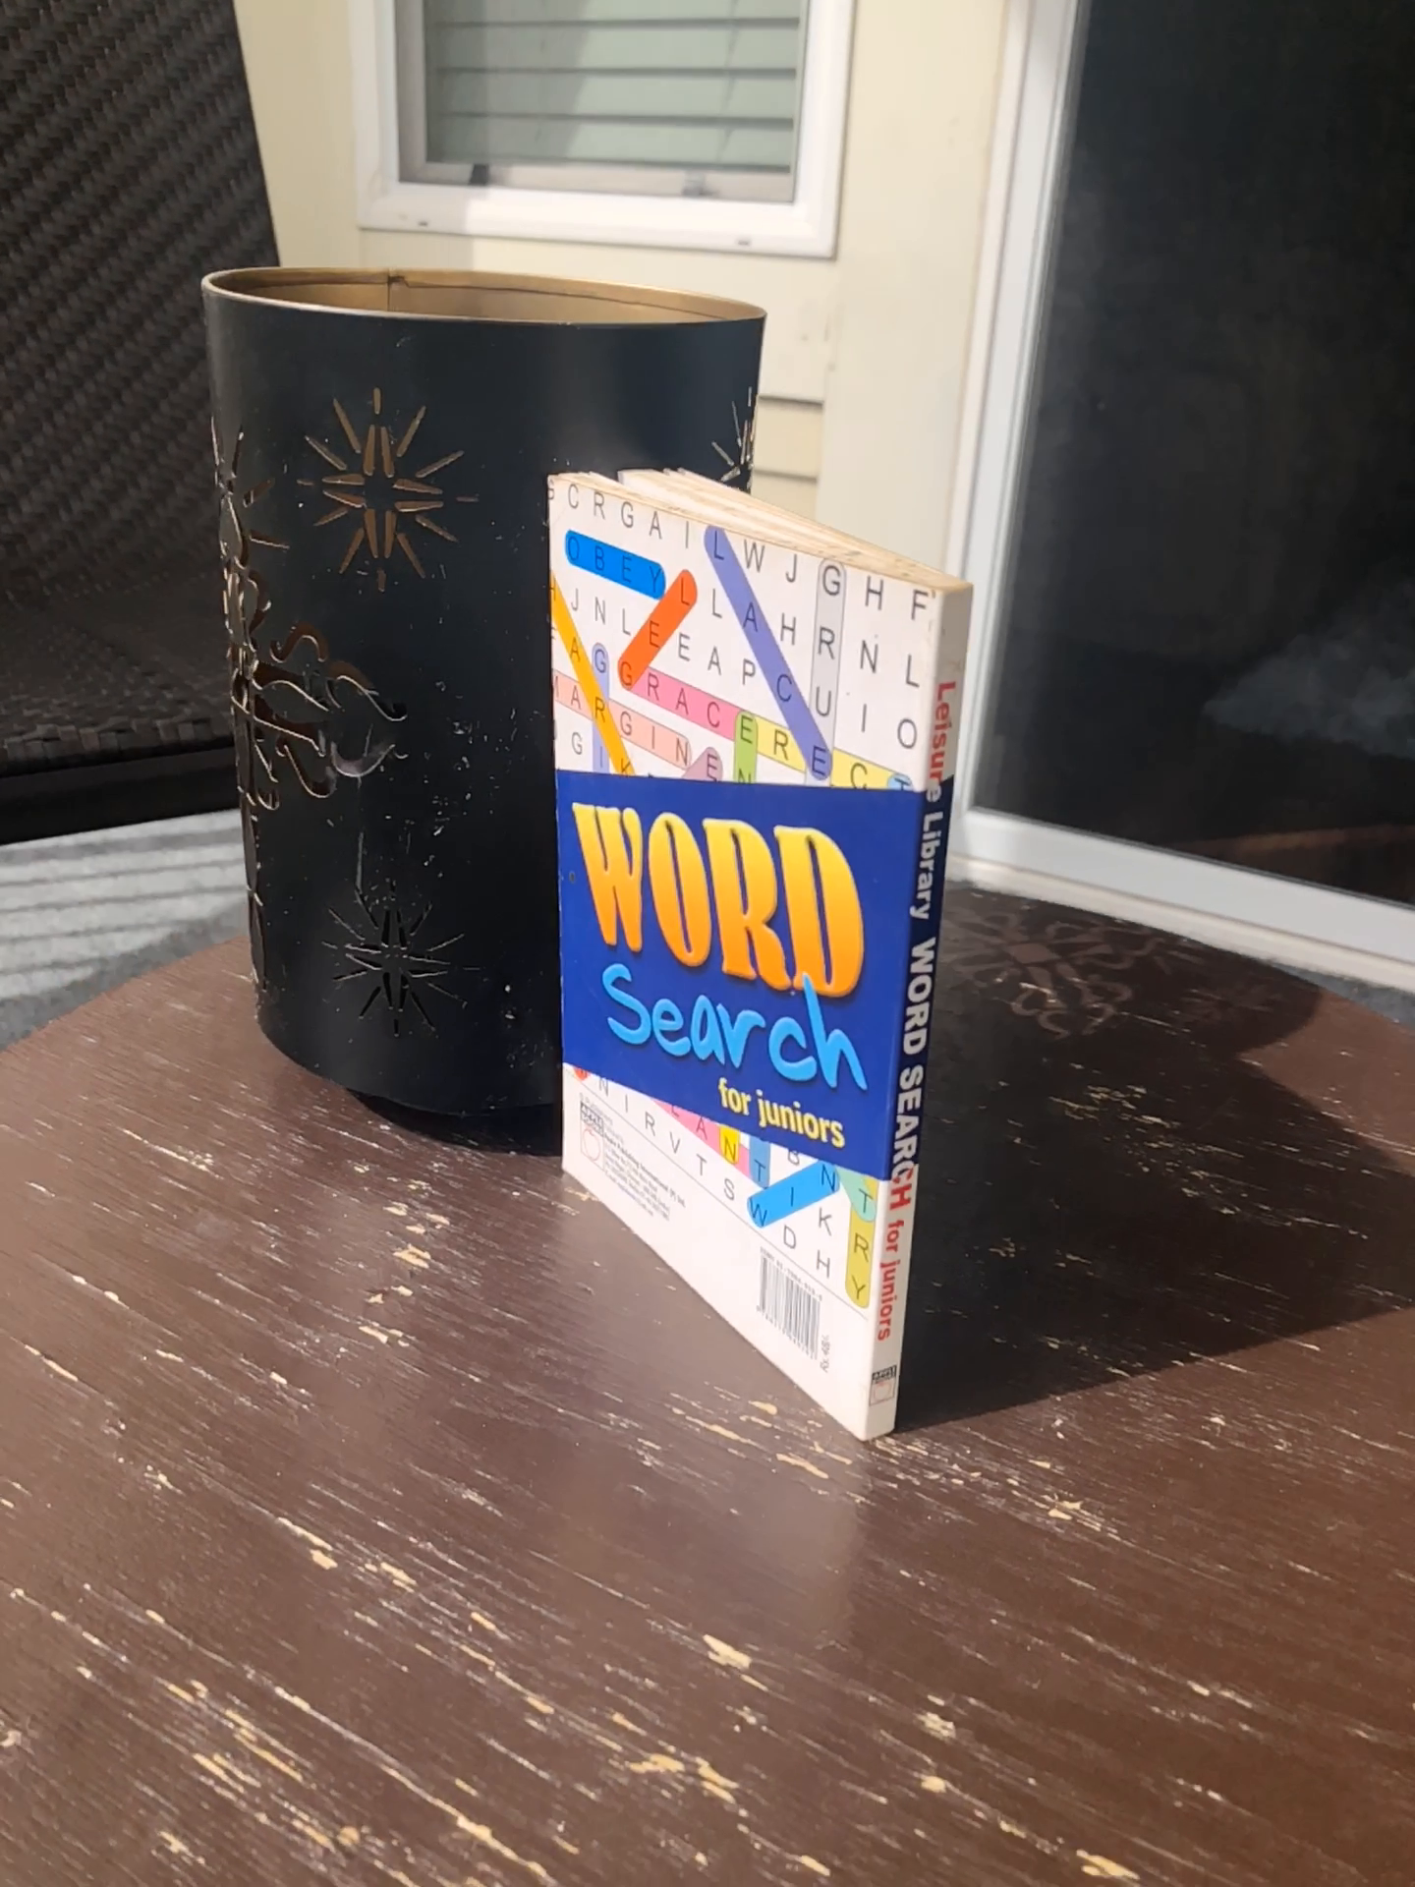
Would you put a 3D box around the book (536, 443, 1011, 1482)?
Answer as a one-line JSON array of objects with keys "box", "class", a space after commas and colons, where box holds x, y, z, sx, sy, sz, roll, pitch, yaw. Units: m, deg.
[{"box": [0.006, -0.002, 0.327, 0.031, 0.179, 0.125, -12, 27, -24], "class": "book"}]
